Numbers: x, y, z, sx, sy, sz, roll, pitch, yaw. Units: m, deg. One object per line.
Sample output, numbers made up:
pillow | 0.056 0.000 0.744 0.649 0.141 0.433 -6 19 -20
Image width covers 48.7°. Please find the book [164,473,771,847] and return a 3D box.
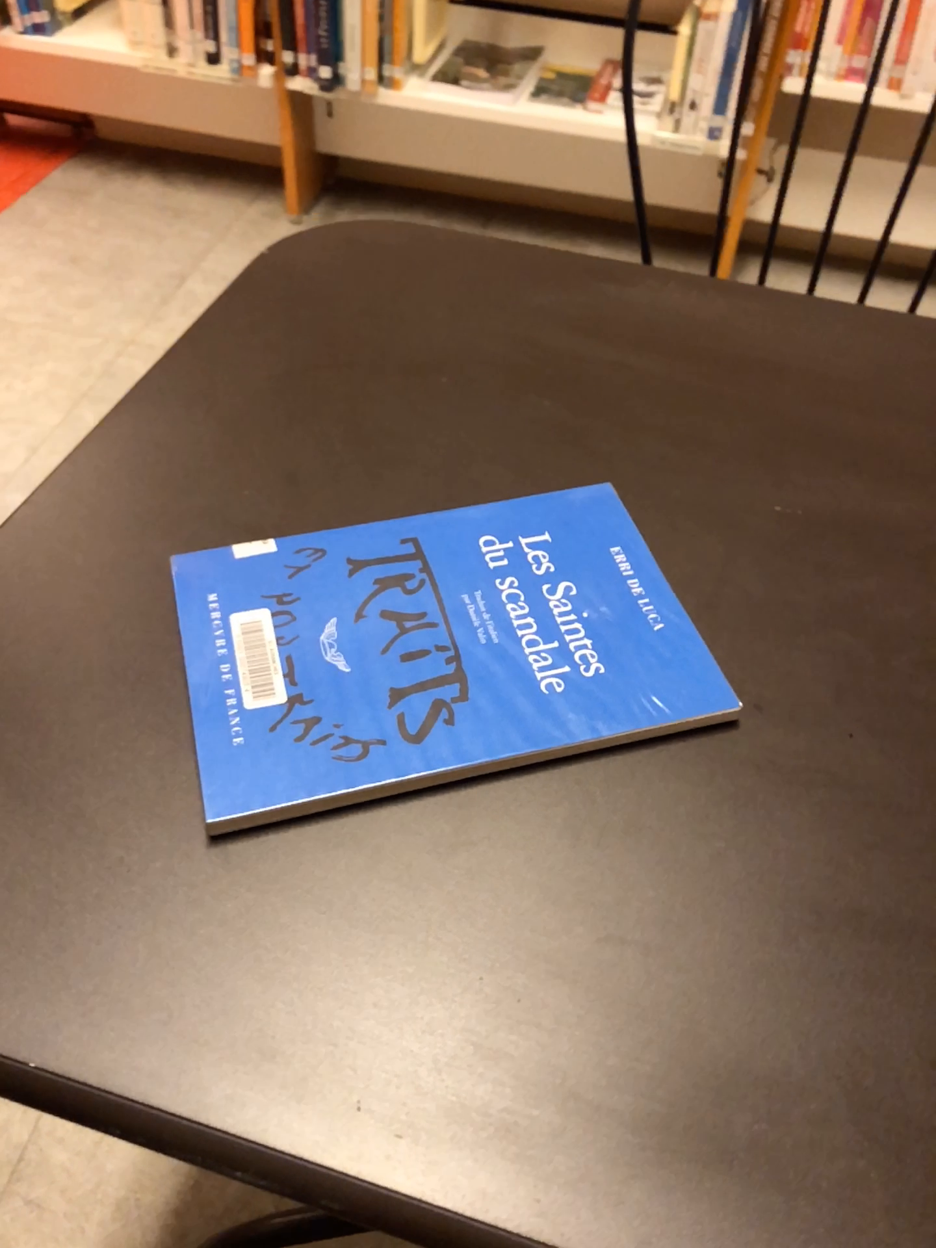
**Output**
book | -0.007 0.003 0.425 0.215 0.017 0.144 -10 48 -14
